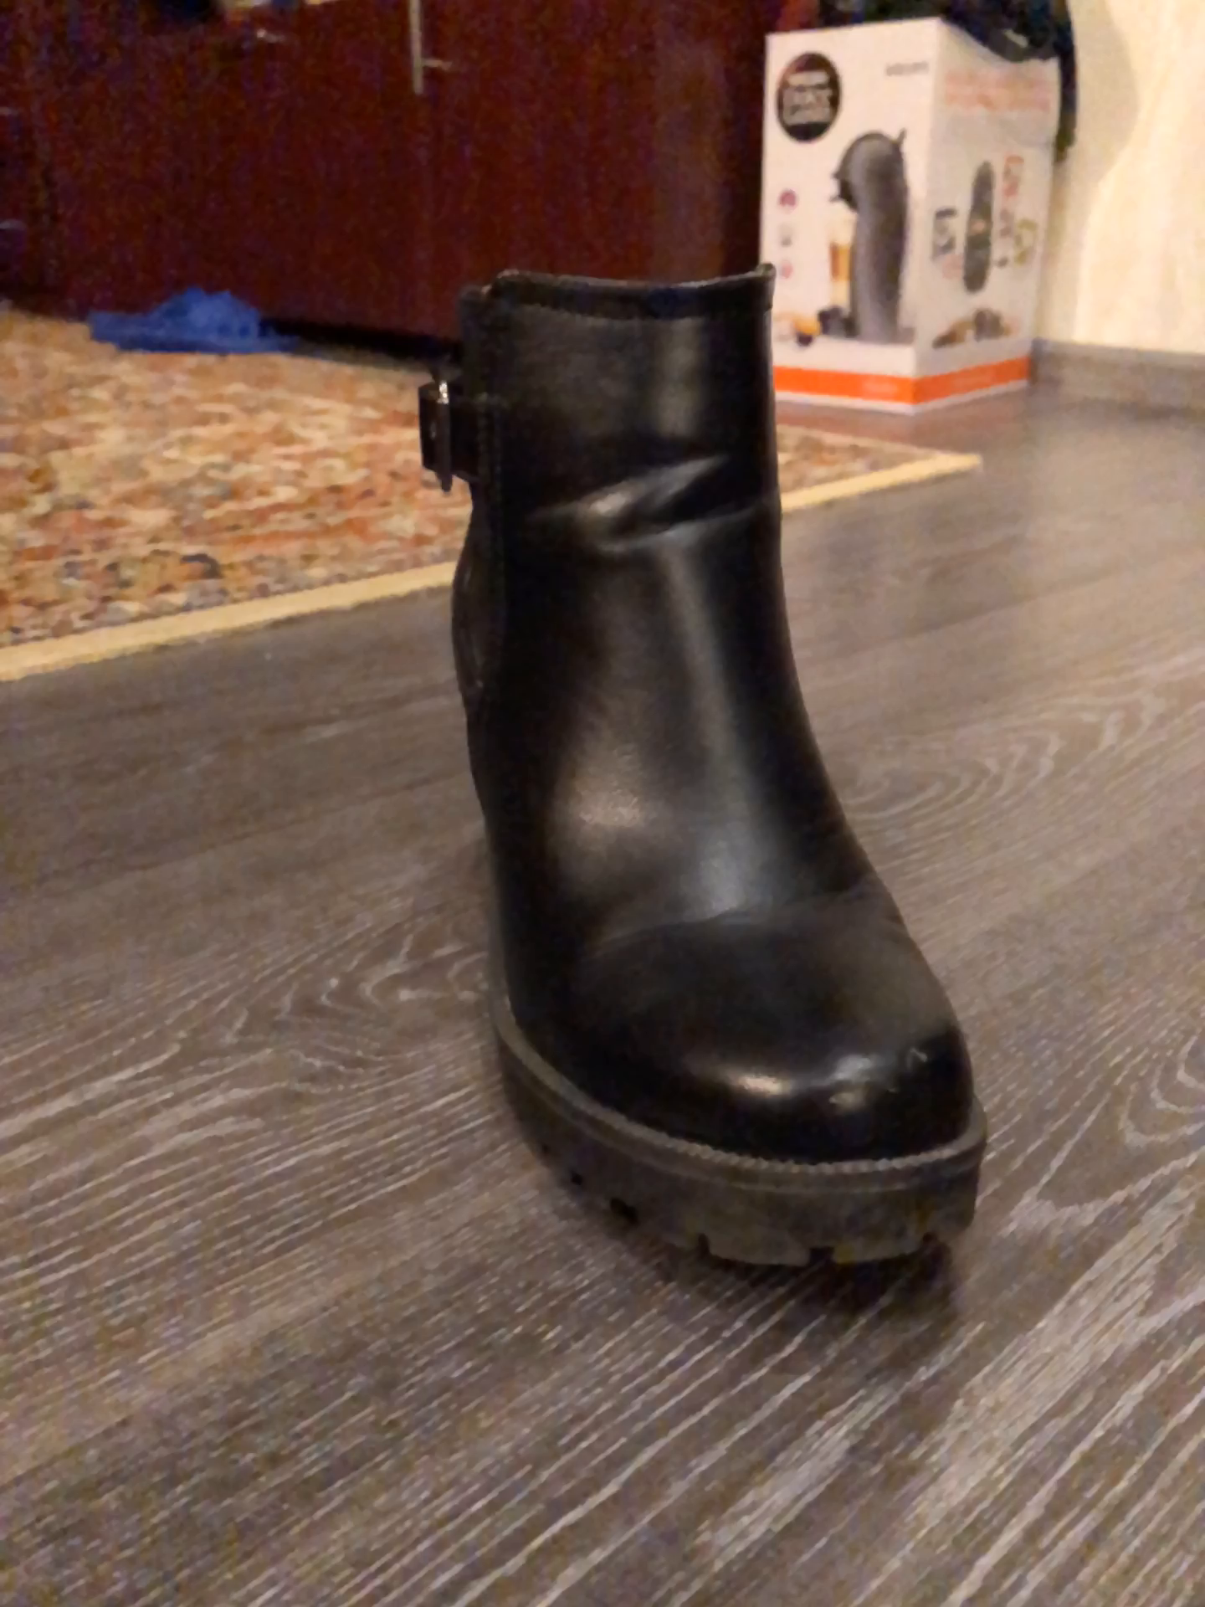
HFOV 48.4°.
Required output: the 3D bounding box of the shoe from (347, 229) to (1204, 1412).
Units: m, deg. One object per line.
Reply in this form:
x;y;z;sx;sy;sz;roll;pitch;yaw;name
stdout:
0.011;-0.032;0.307;0.090;0.179;0.241;-7;25;-17;shoe
